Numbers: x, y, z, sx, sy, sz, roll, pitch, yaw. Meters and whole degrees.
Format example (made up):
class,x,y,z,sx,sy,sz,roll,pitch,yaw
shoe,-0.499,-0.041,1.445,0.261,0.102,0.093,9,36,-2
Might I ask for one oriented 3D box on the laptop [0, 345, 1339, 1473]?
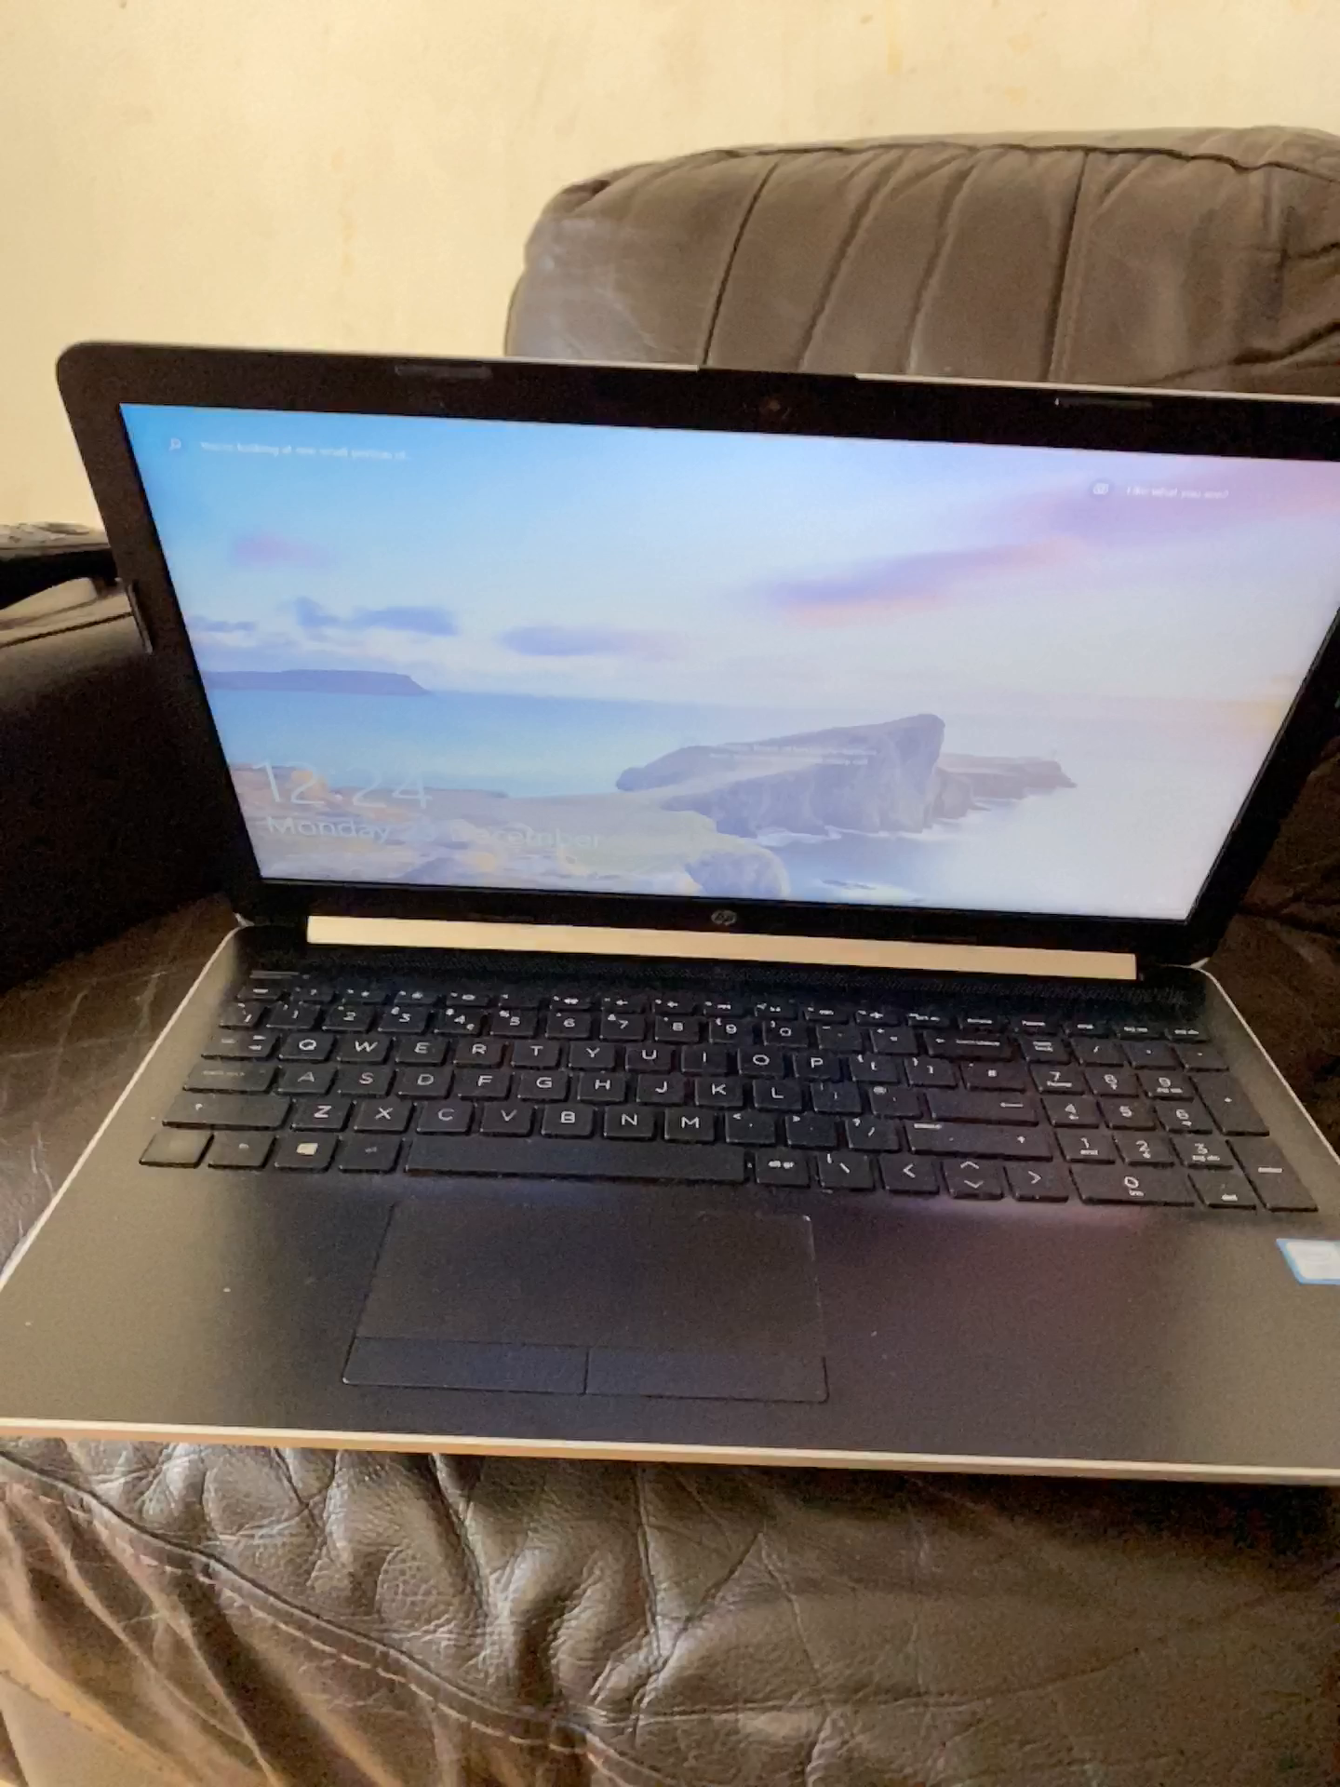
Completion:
class,x,y,z,sx,sy,sz,roll,pitch,yaw
laptop,0.015,-0.023,0.381,0.371,0.212,0.238,1,25,1
